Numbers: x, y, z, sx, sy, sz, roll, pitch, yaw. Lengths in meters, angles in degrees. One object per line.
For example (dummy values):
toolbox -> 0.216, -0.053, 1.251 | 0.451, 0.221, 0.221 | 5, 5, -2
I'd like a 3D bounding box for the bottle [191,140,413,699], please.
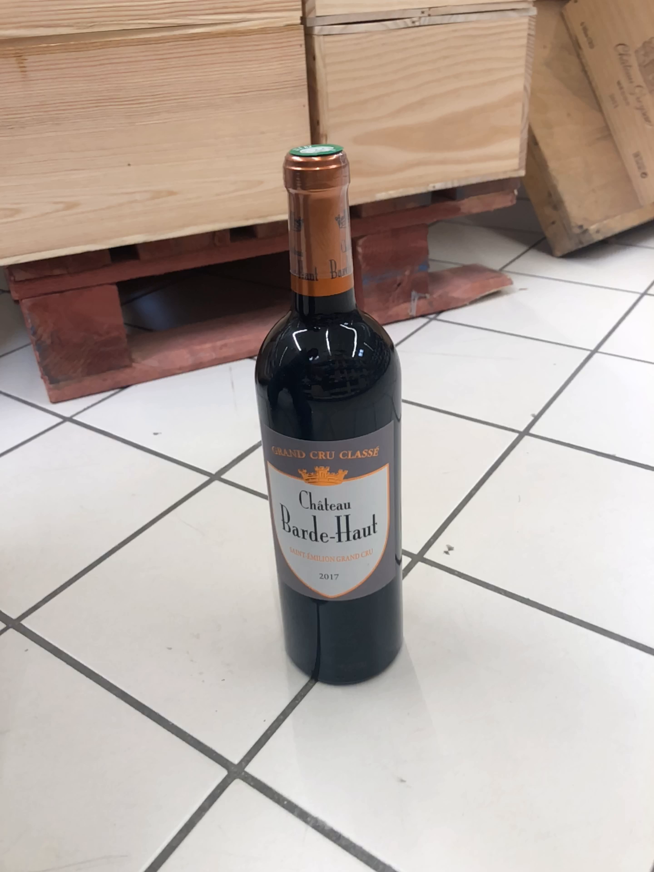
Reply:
bottle -> 0.001, 0.005, 0.382 | 0.080, 0.288, 0.081 | -3, 31, 2
